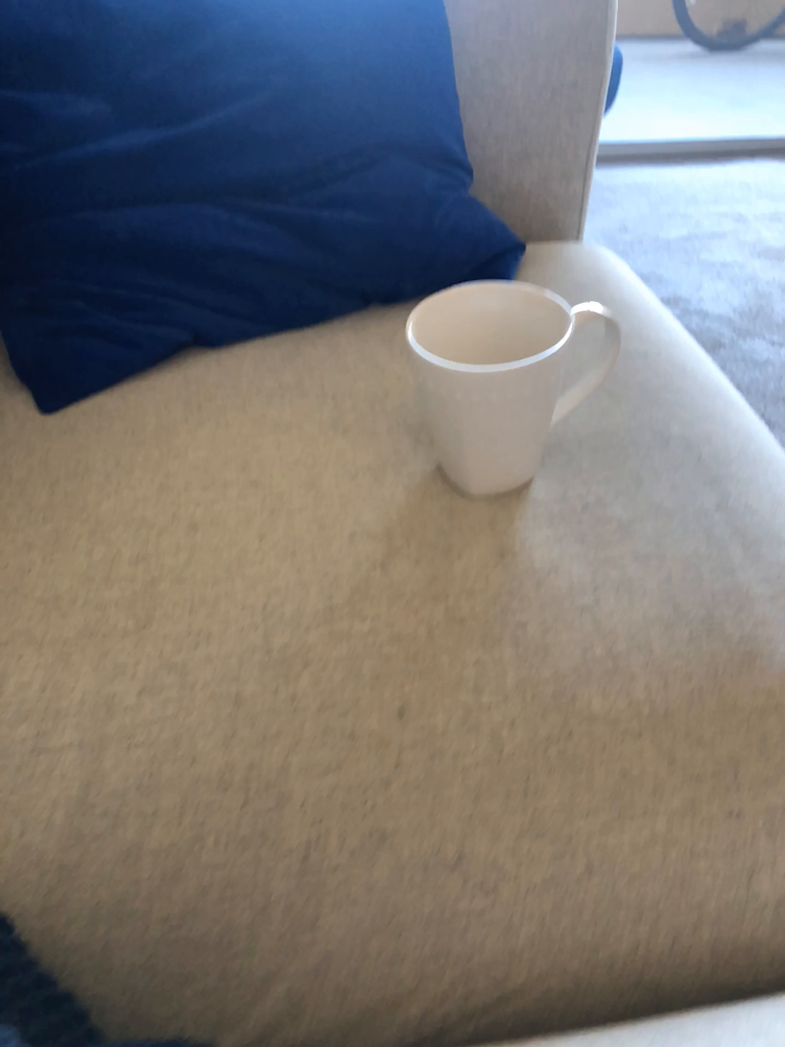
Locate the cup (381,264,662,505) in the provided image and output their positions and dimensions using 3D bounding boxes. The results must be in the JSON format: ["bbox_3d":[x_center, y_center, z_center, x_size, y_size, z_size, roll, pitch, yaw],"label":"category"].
[{"bbox_3d":[0.069,-0.086,0.519,0.130,0.090,0.100,-9,40,-12],"label":"cup"}]
